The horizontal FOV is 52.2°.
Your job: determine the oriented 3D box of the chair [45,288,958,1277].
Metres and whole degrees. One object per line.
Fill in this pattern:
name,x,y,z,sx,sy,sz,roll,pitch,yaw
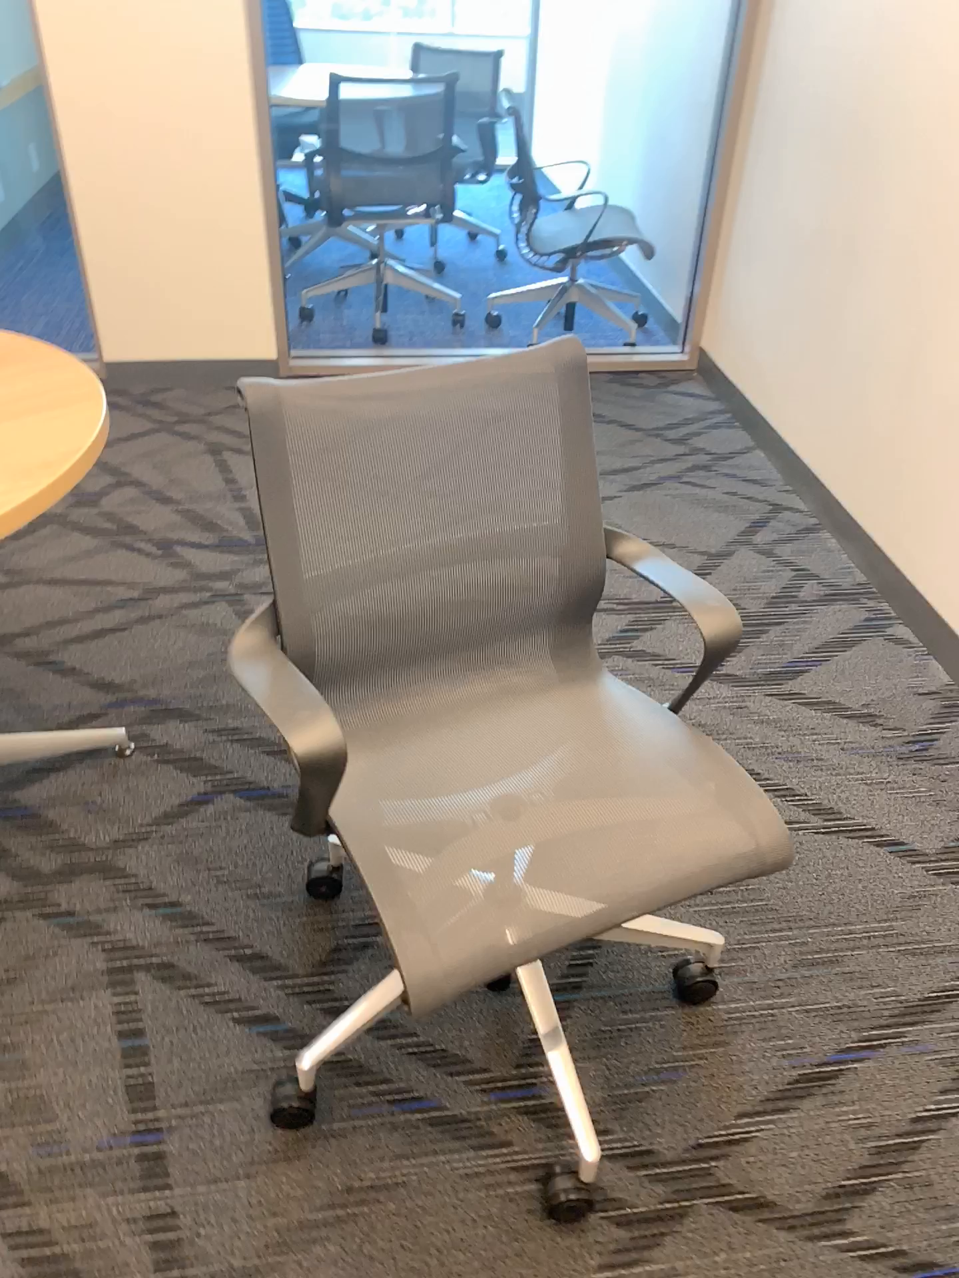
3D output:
chair,0.024,0.132,1.097,0.682,0.753,0.705,-18,40,-24
